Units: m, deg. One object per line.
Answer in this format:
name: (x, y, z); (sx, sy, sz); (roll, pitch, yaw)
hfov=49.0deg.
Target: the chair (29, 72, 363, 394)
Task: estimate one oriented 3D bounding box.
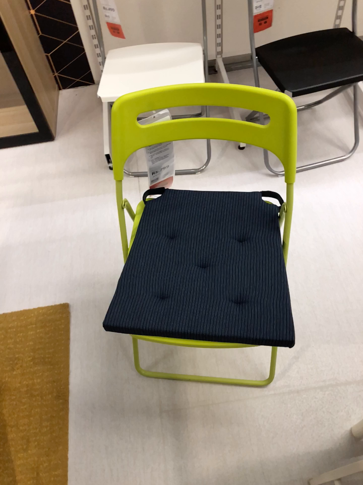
chair: (0.067, 0.024, 0.951); (0.490, 0.637, 0.462); (2, 56, 7)
